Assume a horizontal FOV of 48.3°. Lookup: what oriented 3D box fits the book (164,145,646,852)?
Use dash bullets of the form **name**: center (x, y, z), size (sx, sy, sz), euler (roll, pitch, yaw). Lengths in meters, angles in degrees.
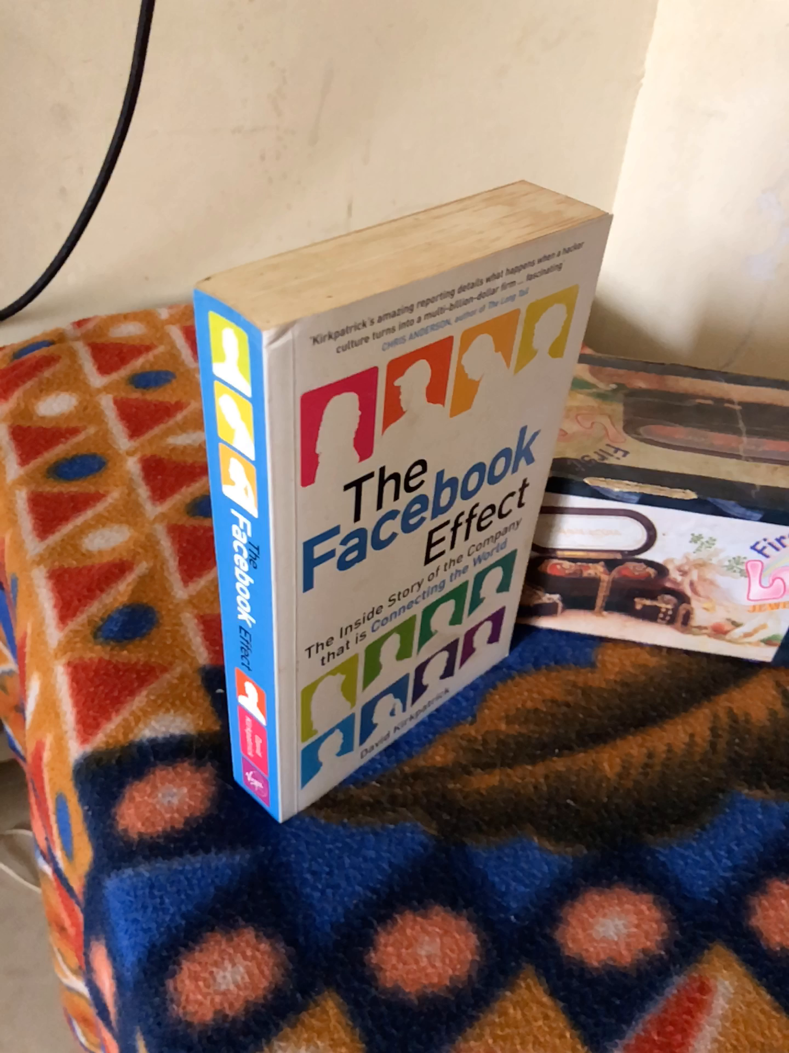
- **book**: center (0.005, -0.005, 0.313), size (0.150, 0.219, 0.040), euler (-28, 48, -35)
